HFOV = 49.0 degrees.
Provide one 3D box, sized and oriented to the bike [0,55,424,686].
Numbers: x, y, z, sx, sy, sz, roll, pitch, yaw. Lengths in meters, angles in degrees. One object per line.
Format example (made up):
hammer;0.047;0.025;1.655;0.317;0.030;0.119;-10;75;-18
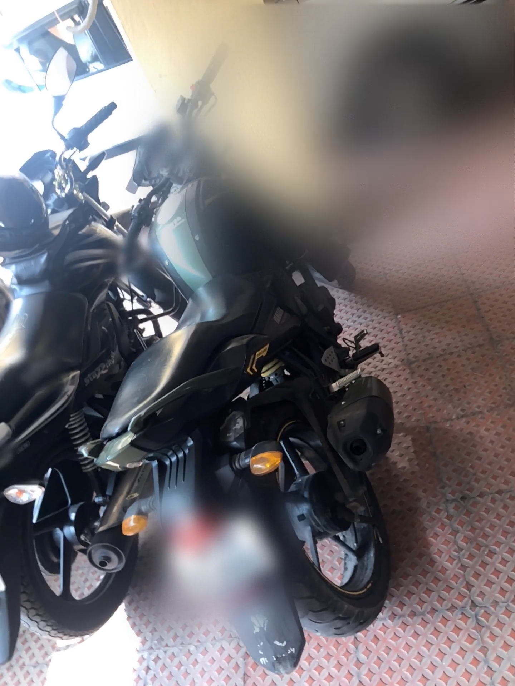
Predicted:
bike;-0.210;-0.082;1.798;0.738;1.090;1.818;-19;34;10
